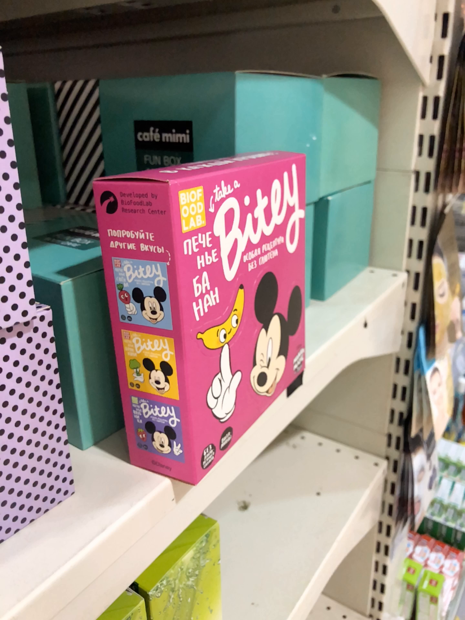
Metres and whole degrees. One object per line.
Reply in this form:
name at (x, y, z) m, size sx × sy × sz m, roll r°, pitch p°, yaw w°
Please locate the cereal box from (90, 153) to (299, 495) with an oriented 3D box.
cereal box at (-0.007, -0.006, 0.291) m, size 0.040 × 0.149 × 0.141 m, roll 8°, pitch 22°, yaw 27°
